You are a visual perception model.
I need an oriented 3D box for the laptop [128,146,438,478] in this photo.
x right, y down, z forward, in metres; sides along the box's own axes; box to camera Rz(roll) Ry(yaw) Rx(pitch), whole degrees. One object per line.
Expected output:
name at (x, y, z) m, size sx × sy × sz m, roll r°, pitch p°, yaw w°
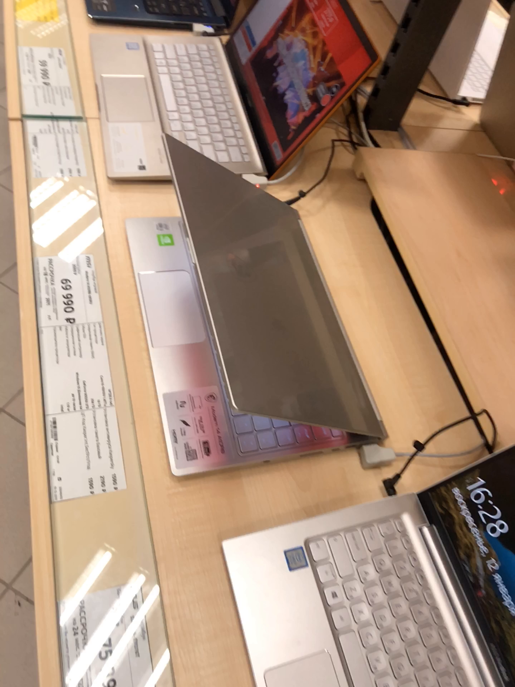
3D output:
laptop at (0.000, -0.053, 0.583) m, size 0.216 × 0.113 × 0.321 m, roll -6°, pitch 57°, yaw -18°

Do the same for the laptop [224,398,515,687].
laptop at (0.176, 0.244, 0.392) m, size 0.301 × 0.154 × 0.326 m, roll -8°, pitch 58°, yaw -17°

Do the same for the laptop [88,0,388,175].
laptop at (-0.053, -0.403, 0.762) m, size 0.314 × 0.170 × 0.310 m, roll -6°, pitch 58°, yaw -18°
